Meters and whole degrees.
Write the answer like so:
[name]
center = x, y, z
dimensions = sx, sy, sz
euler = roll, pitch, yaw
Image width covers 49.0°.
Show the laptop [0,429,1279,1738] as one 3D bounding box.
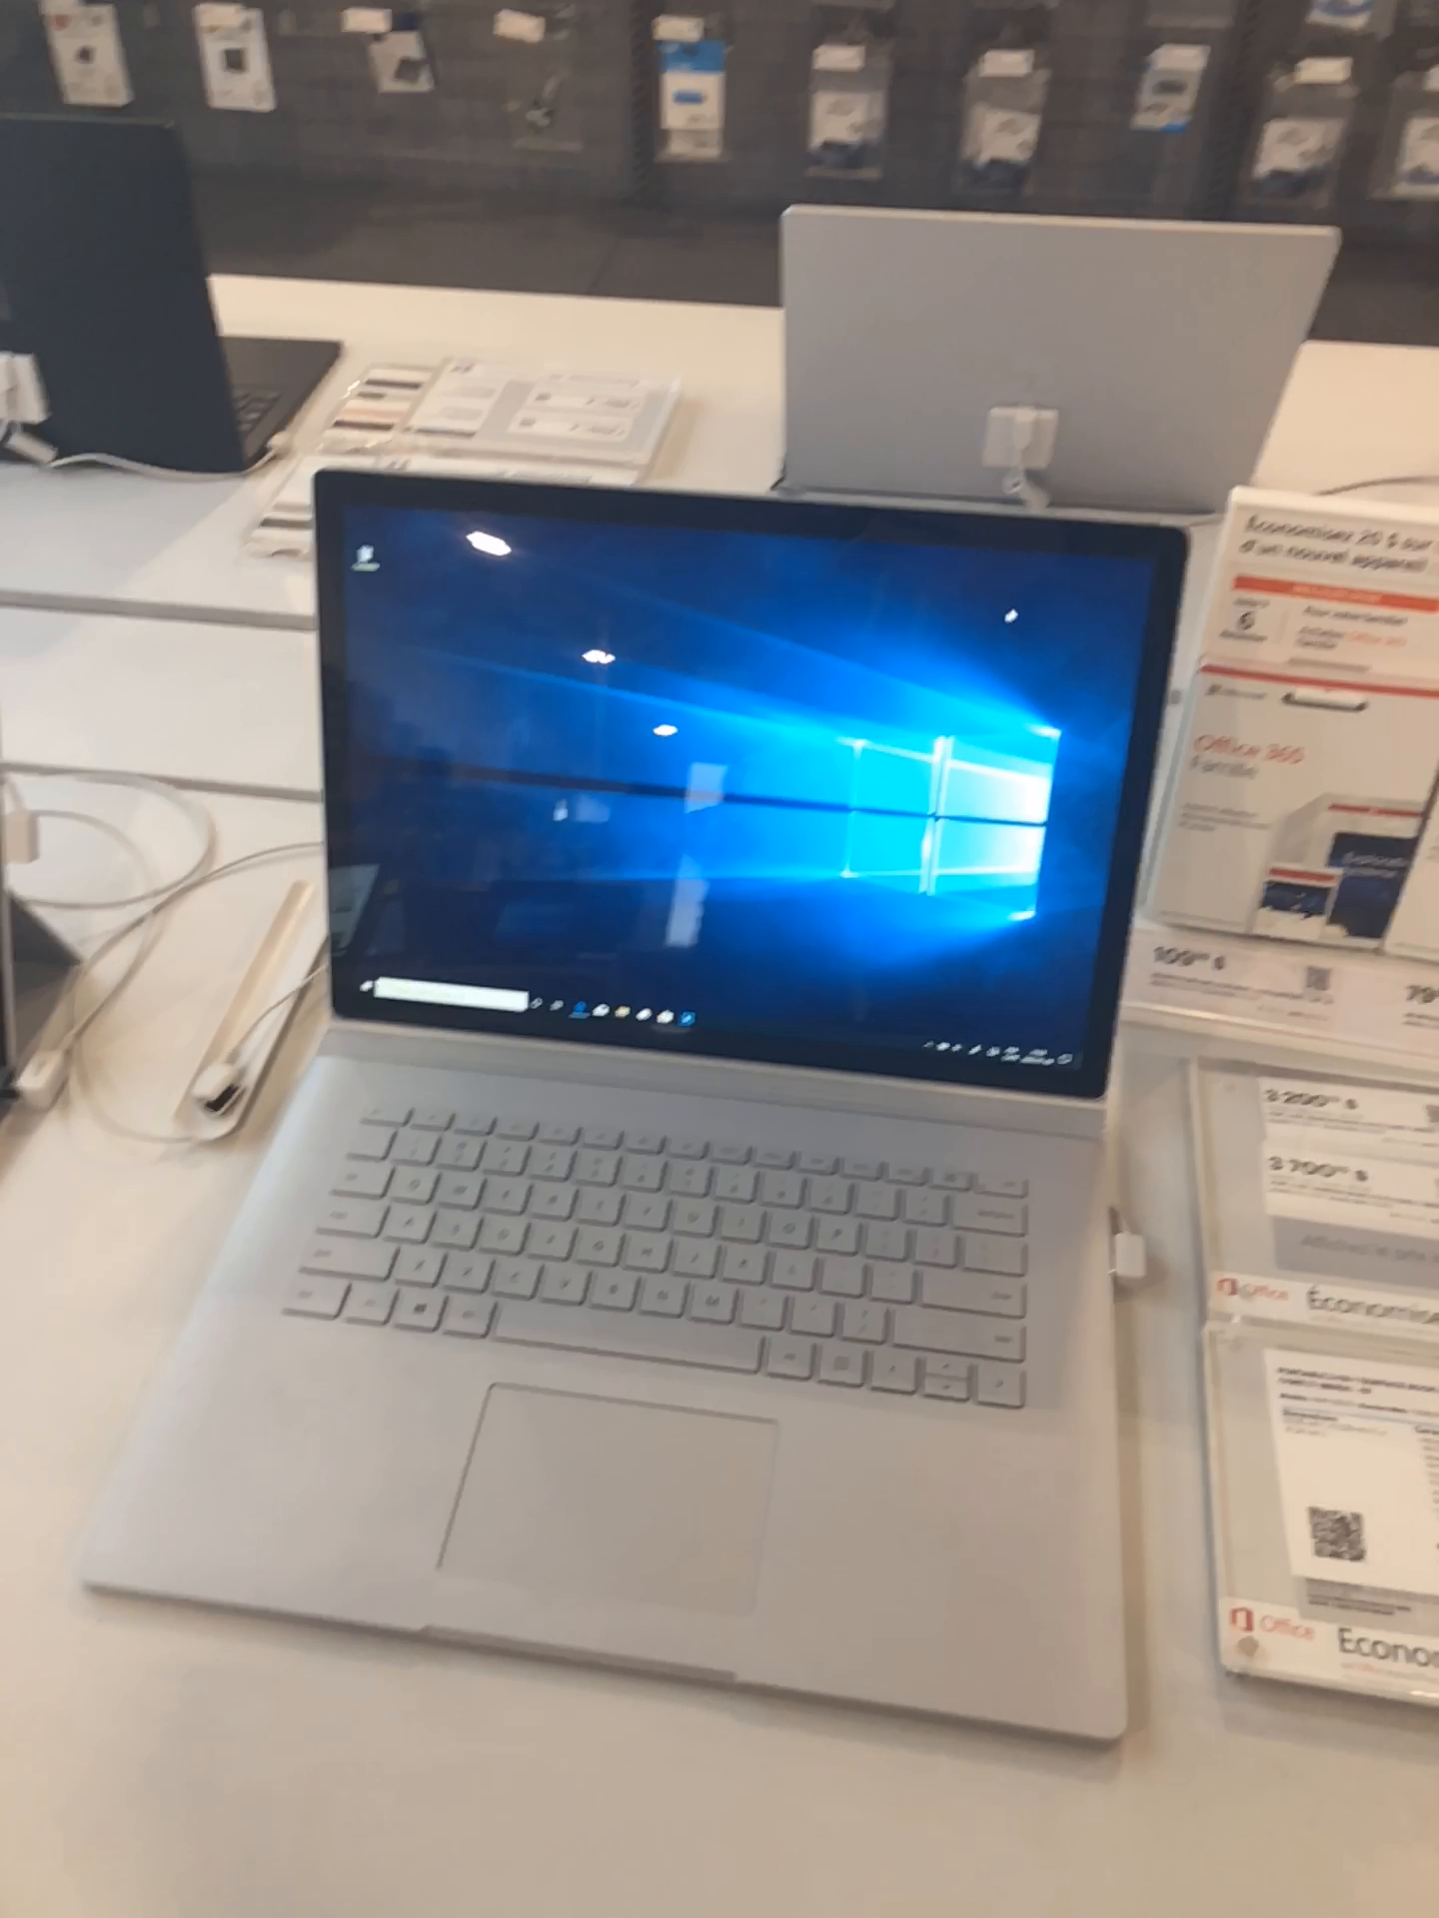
[laptop]
center = -0.020, 0.014, 0.562
dimensions = 0.338, 0.207, 0.366
euler = 6, 46, 6
